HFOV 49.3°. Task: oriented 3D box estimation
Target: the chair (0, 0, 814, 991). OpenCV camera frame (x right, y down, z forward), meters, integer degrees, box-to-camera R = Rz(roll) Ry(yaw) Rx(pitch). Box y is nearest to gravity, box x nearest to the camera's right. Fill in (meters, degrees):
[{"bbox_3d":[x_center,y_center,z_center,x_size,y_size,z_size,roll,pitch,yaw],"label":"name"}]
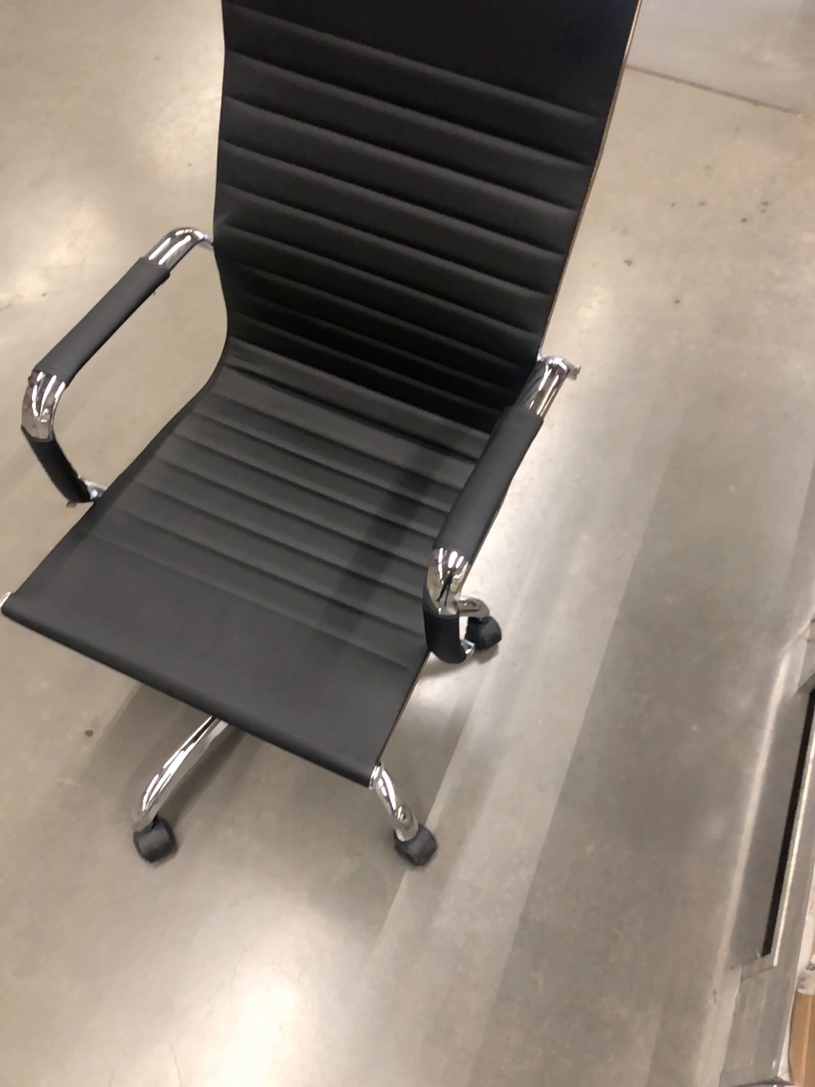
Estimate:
[{"bbox_3d":[-0.133,-0.067,1.058,0.670,1.094,0.744,25,58,9],"label":"chair"}]
